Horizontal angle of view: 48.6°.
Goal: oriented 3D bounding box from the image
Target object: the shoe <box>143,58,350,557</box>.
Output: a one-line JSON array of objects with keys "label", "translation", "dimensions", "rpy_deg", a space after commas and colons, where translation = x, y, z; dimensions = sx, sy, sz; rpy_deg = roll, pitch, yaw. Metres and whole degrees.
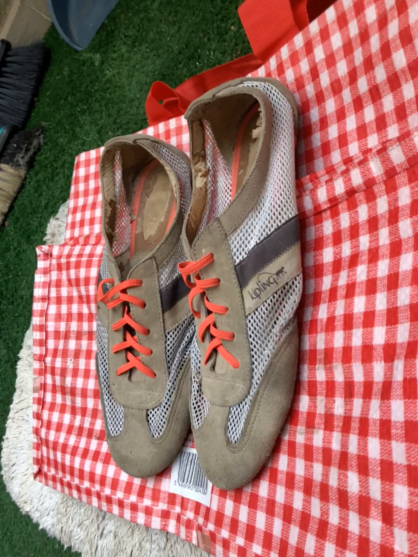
[{"label": "shoe", "translation": [0.012, 0.016, 0.262], "dimensions": [0.100, 0.050, 0.230], "rpy_deg": [-14, 79, 60]}]

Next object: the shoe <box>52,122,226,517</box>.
[{"label": "shoe", "translation": [-0.052, 0.026, 0.327], "dimensions": [0.100, 0.050, 0.240], "rpy_deg": [-7, 83, 28]}]
